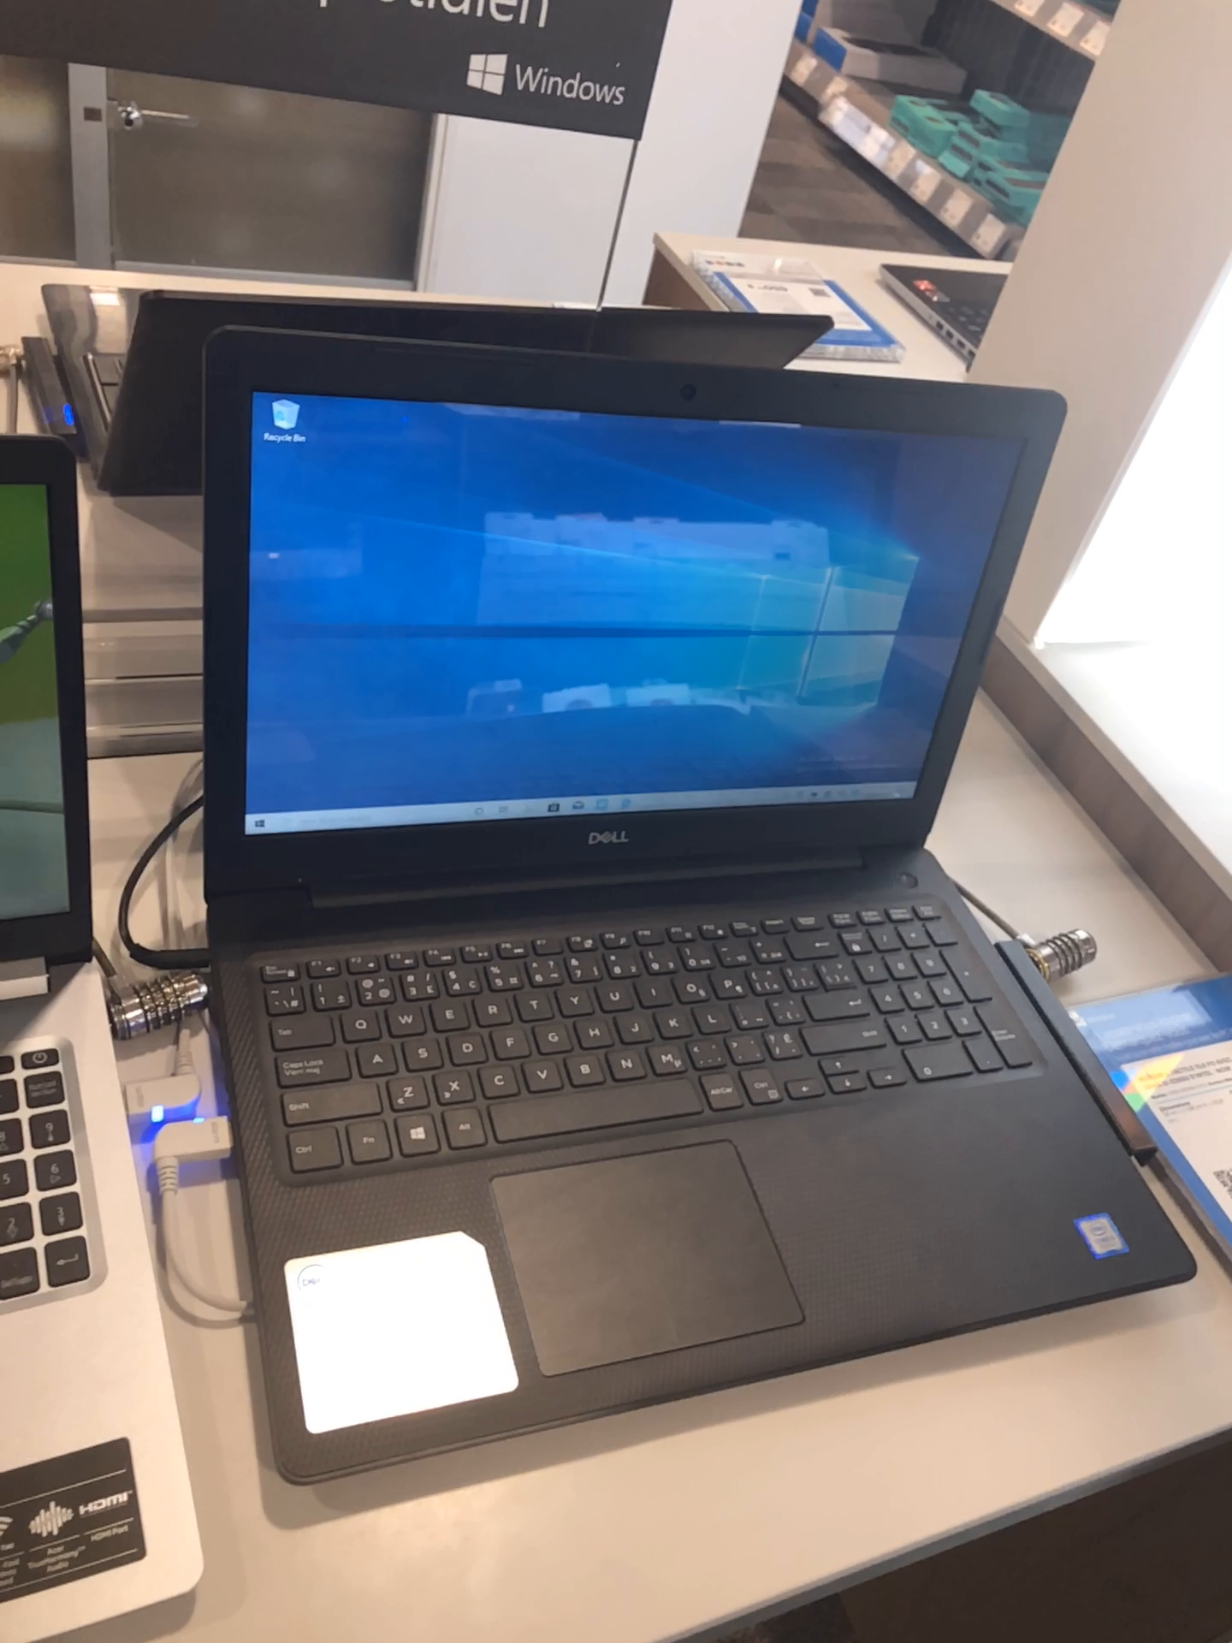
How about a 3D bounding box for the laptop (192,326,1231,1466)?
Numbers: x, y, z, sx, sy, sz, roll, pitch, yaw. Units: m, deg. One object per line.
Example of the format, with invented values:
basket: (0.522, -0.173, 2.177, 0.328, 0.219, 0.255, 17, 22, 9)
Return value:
laptop: (0.045, 0.005, 0.526, 0.368, 0.230, 0.310, -3, 45, -22)
